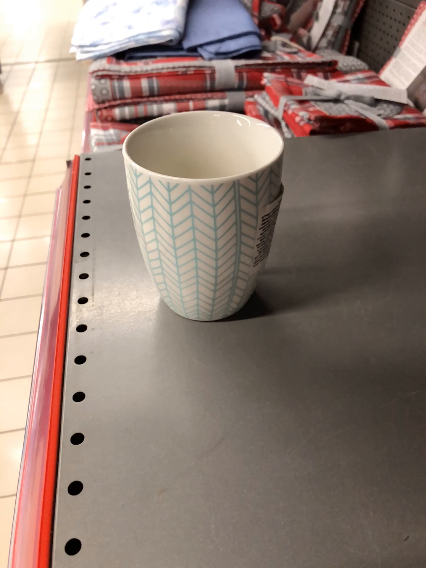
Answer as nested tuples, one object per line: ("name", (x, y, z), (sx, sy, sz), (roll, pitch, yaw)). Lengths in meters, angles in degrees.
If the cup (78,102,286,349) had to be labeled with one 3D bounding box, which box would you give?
("cup", (-0.007, -0.041, 0.293), (0.093, 0.096, 0.120), (4, 42, 8))
